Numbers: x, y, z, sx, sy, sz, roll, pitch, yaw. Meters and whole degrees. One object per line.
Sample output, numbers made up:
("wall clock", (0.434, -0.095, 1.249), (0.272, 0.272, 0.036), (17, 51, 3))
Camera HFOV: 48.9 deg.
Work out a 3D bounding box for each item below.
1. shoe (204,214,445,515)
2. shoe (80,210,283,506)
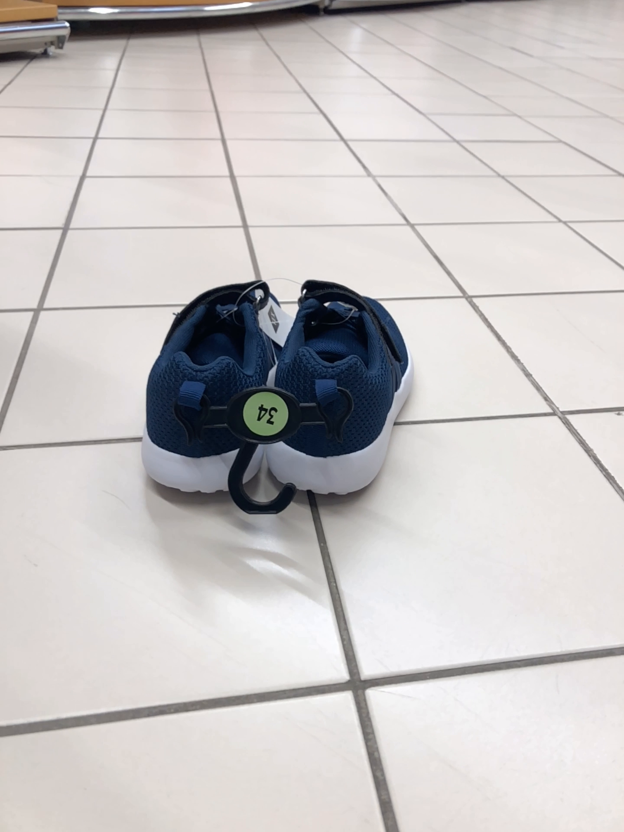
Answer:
("shoe", (0.021, -0.054, 0.486), (0.102, 0.094, 0.238), (12, 35, 12))
("shoe", (-0.073, -0.055, 0.479), (0.093, 0.095, 0.239), (3, 35, -1))
